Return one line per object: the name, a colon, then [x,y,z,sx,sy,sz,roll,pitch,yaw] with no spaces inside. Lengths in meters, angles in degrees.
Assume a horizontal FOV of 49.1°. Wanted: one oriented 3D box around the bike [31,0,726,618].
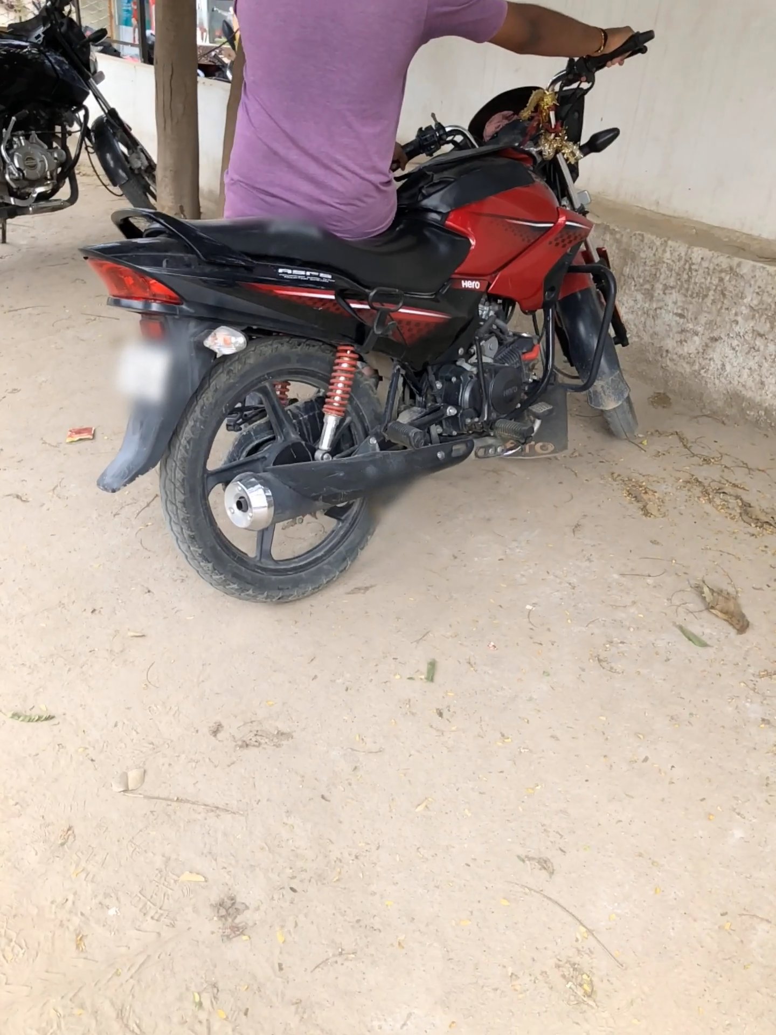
bike: [0.065,-0.818,2.226,0.740,1.086,1.709,25,41,32]
